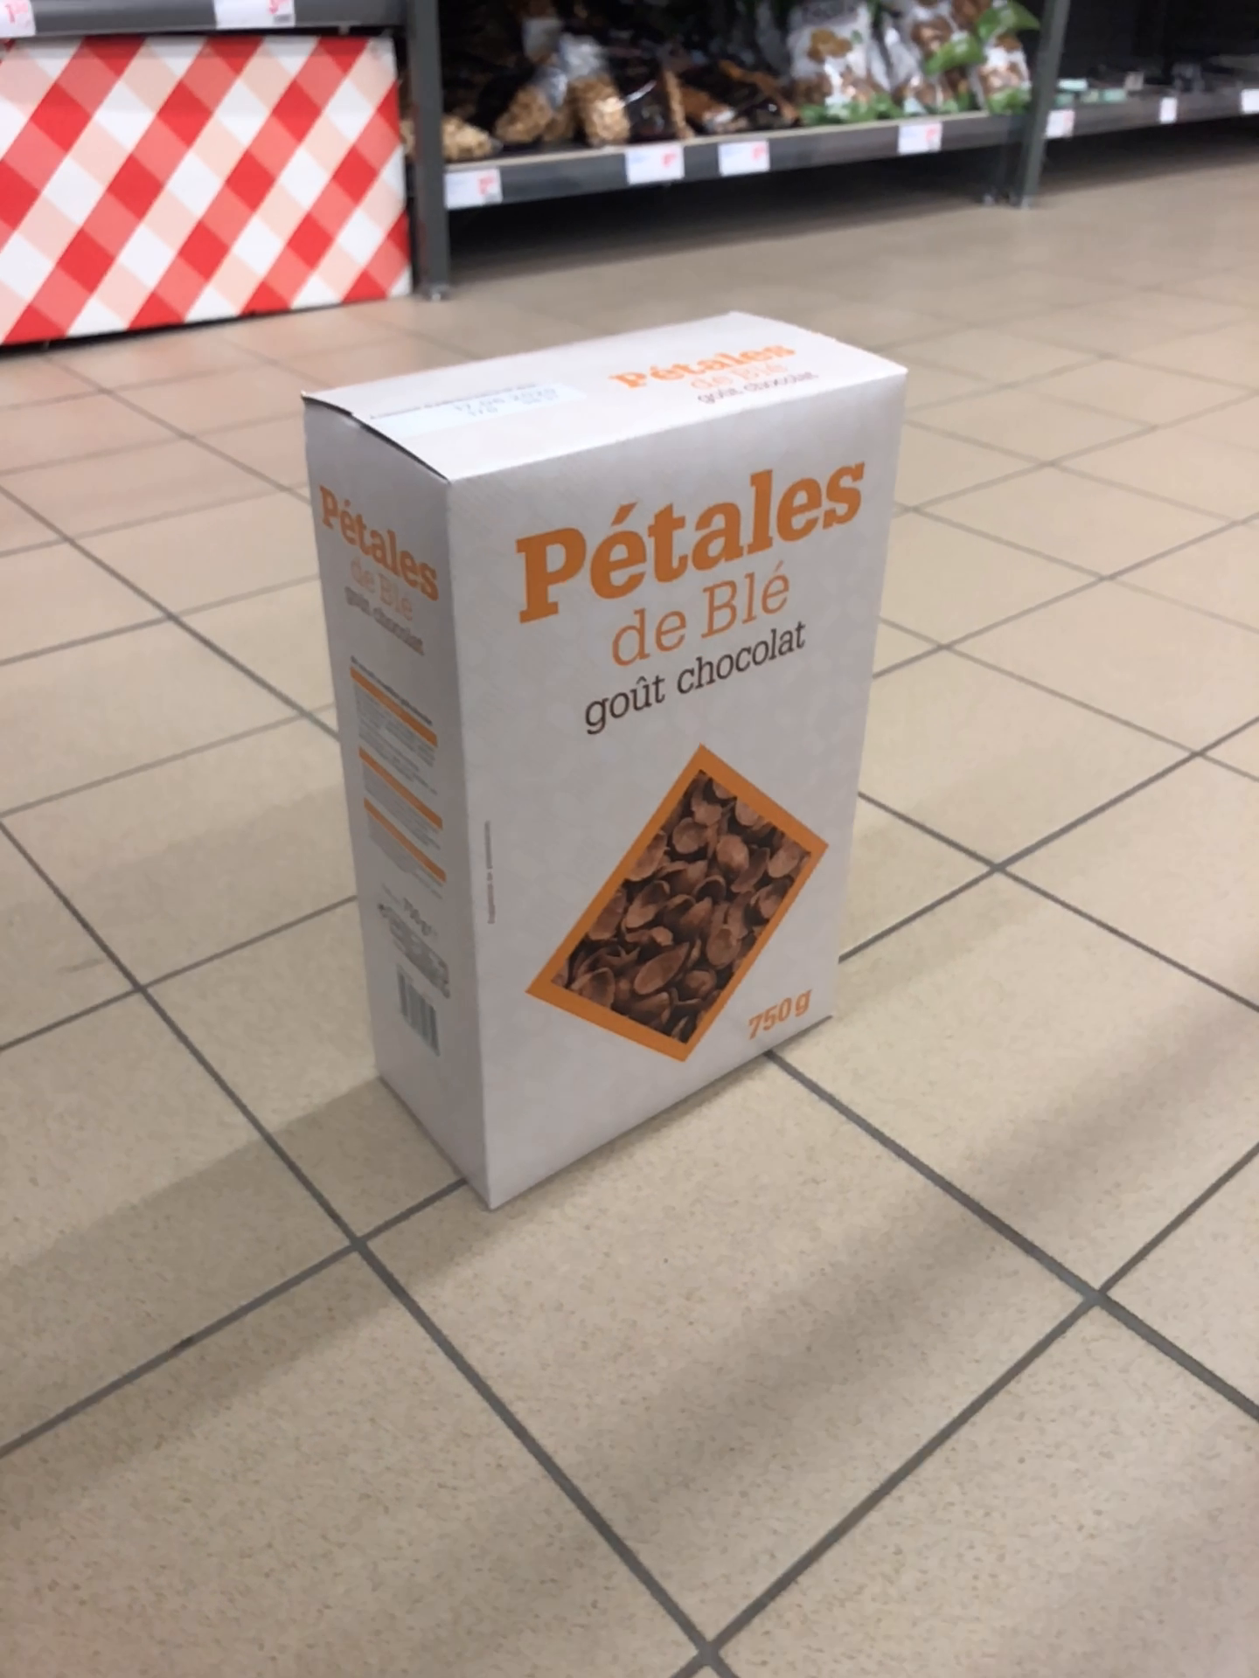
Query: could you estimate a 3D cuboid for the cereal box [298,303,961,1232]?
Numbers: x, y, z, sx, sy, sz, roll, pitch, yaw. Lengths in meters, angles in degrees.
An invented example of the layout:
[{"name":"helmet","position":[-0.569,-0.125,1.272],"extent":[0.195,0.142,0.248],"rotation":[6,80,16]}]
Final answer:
[{"name":"cereal box","position":[0.002,-0.029,0.521],"extent":[0.191,0.288,0.100],"rotation":[-22,39,-32]}]
